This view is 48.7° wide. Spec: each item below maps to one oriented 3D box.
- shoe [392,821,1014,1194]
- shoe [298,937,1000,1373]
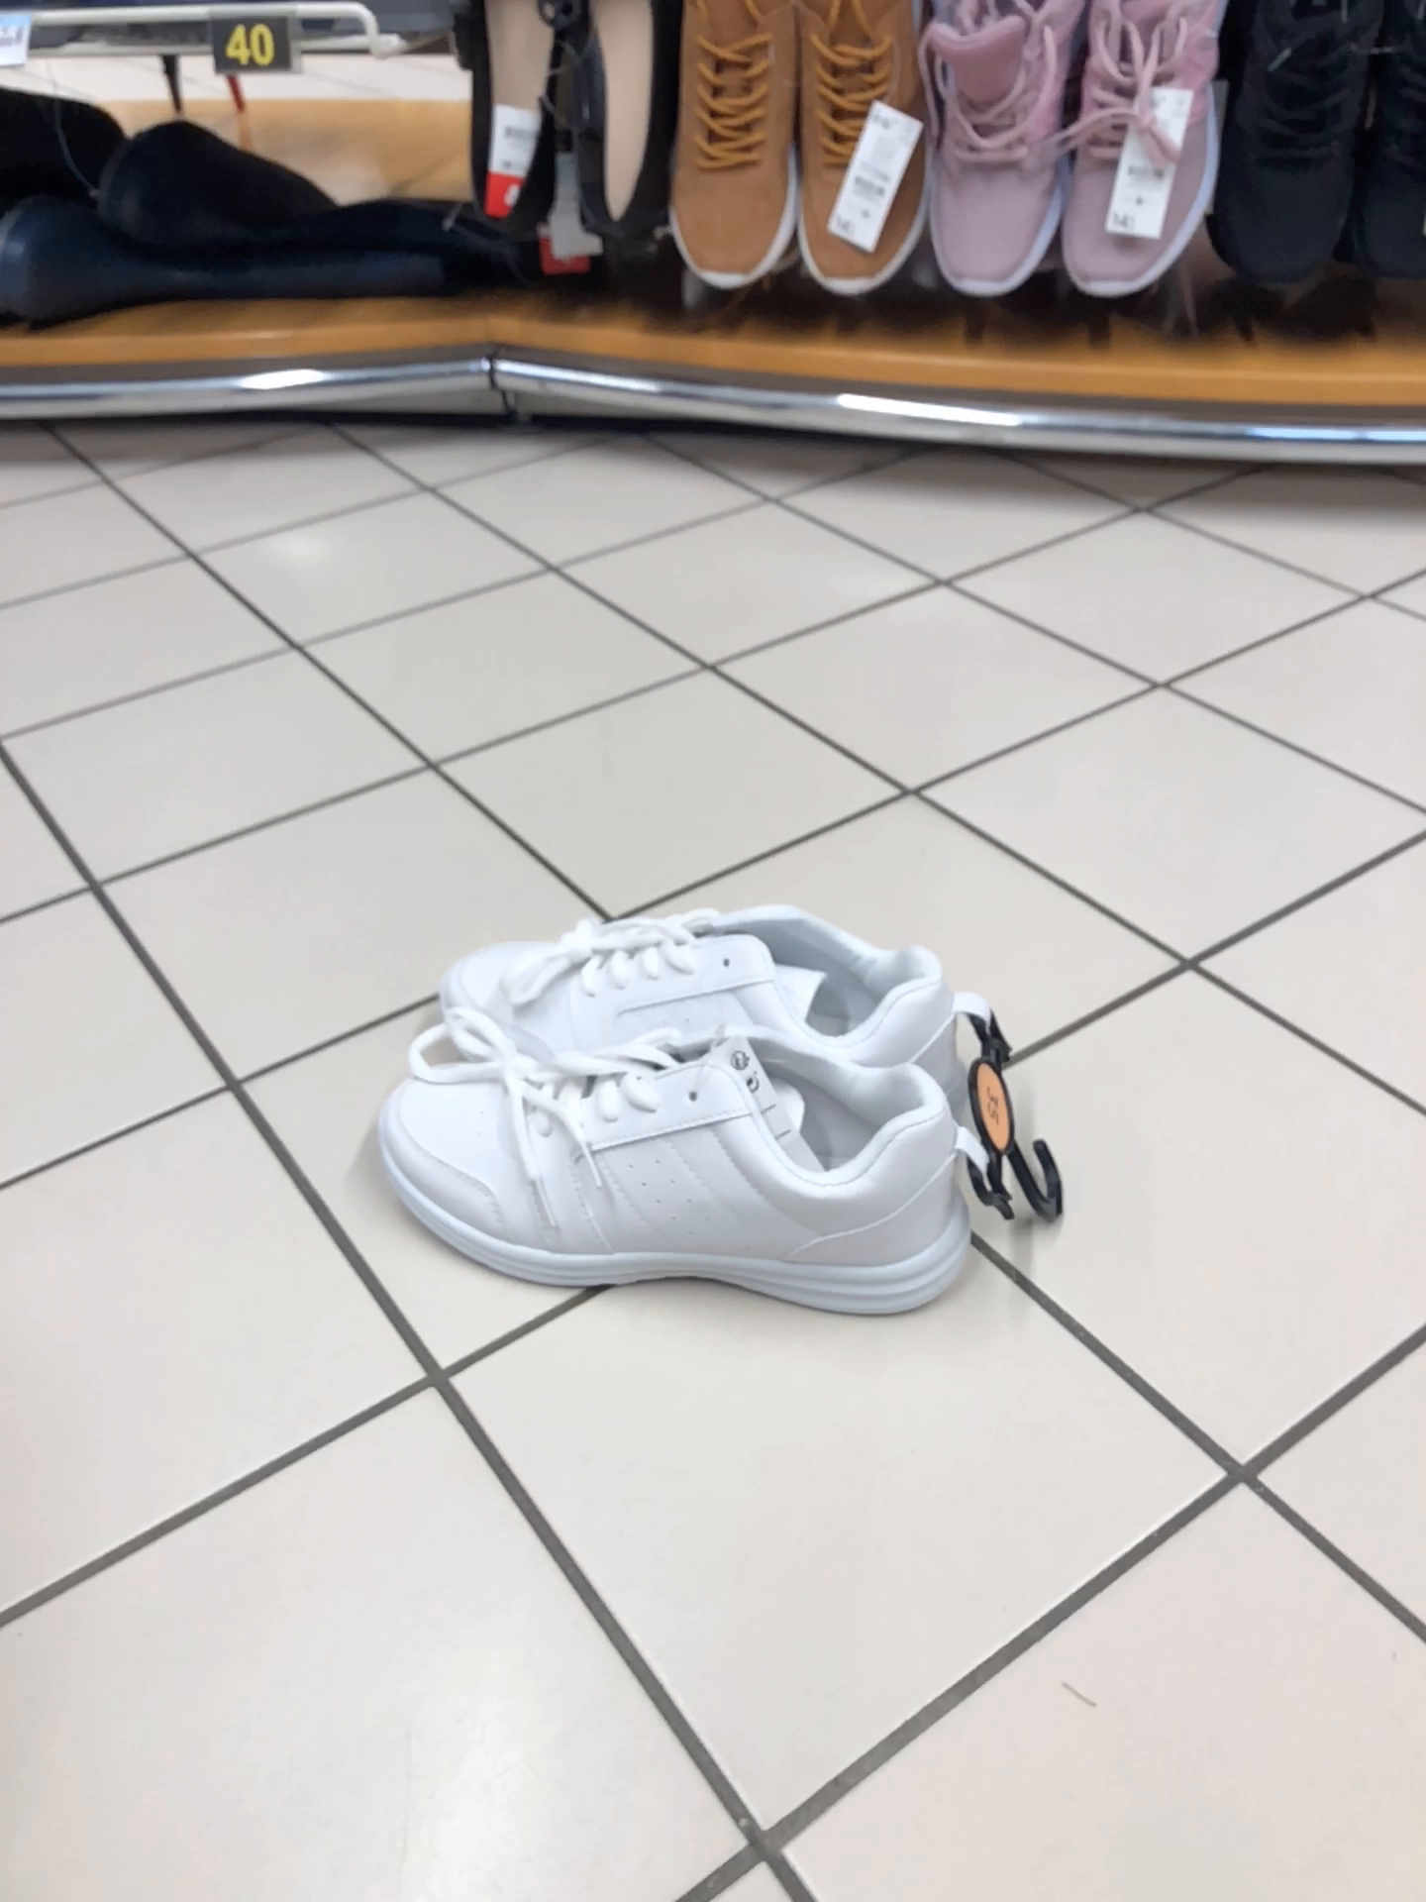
[{"bbox_3d":[-0.001,0.020,0.673,0.240,0.089,0.091,8,38,14],"label":"shoe"},{"bbox_3d":[-0.020,0.073,0.600,0.240,0.089,0.091,8,38,14],"label":"shoe"}]
